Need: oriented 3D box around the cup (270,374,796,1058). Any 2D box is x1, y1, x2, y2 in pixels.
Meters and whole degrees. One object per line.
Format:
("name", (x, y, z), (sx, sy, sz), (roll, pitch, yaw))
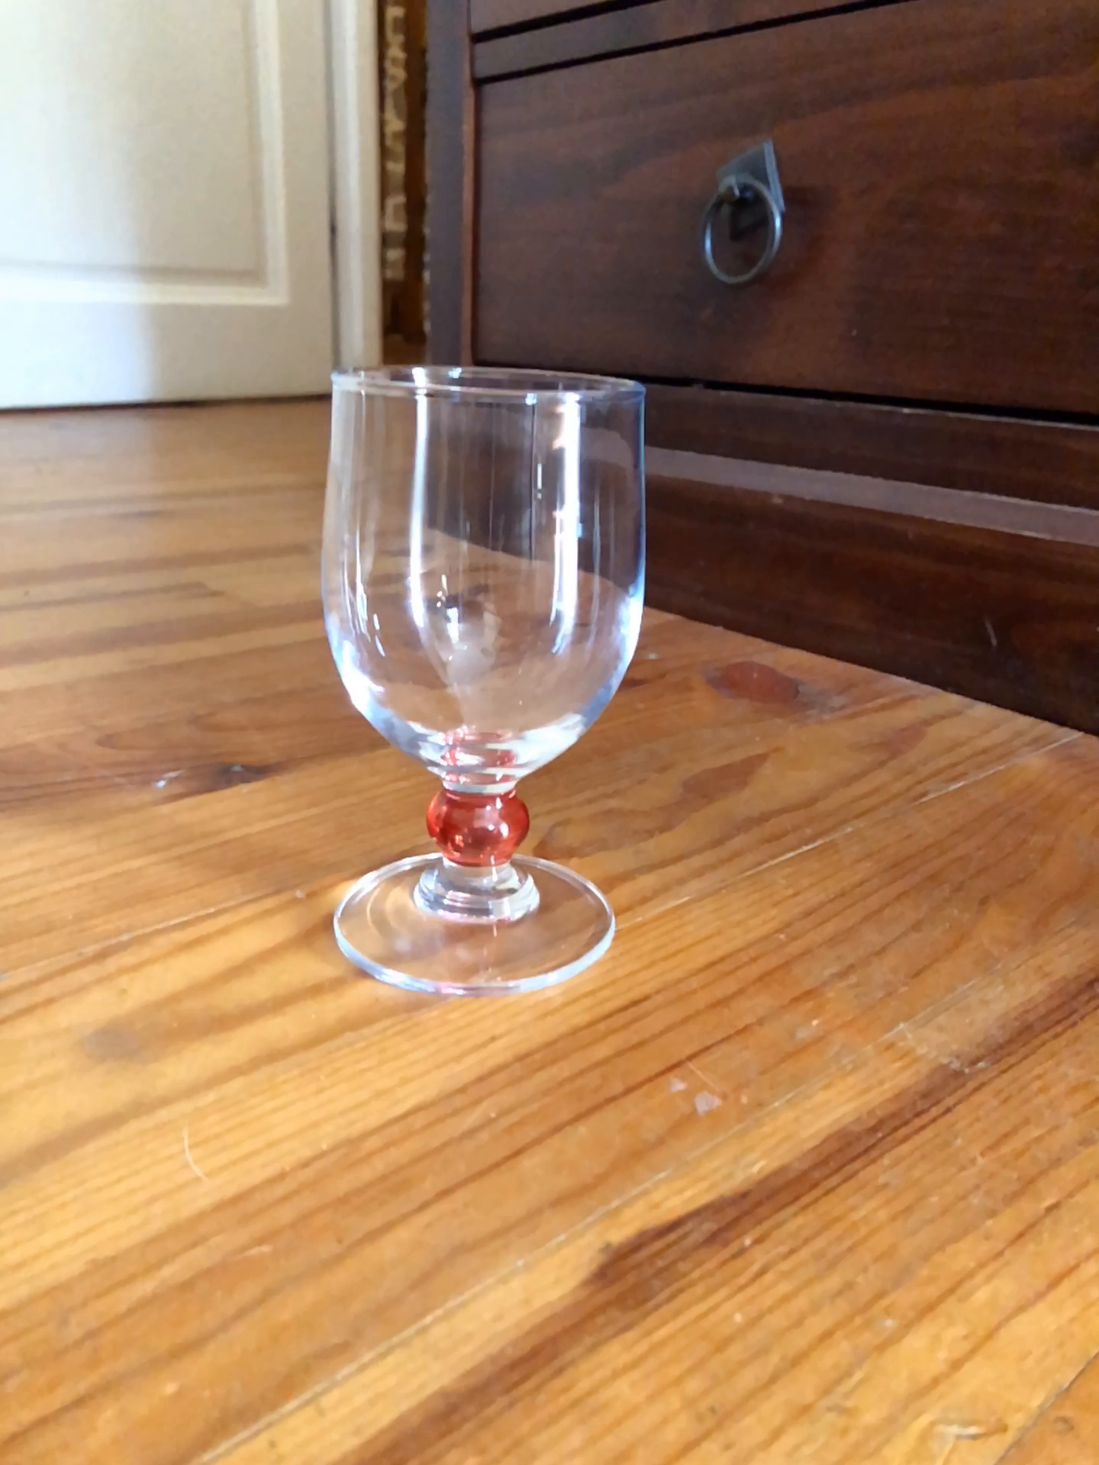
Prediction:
("cup", (-0.008, -0.013, 0.286), (0.088, 0.132, 0.083), (1, 19, 0))
